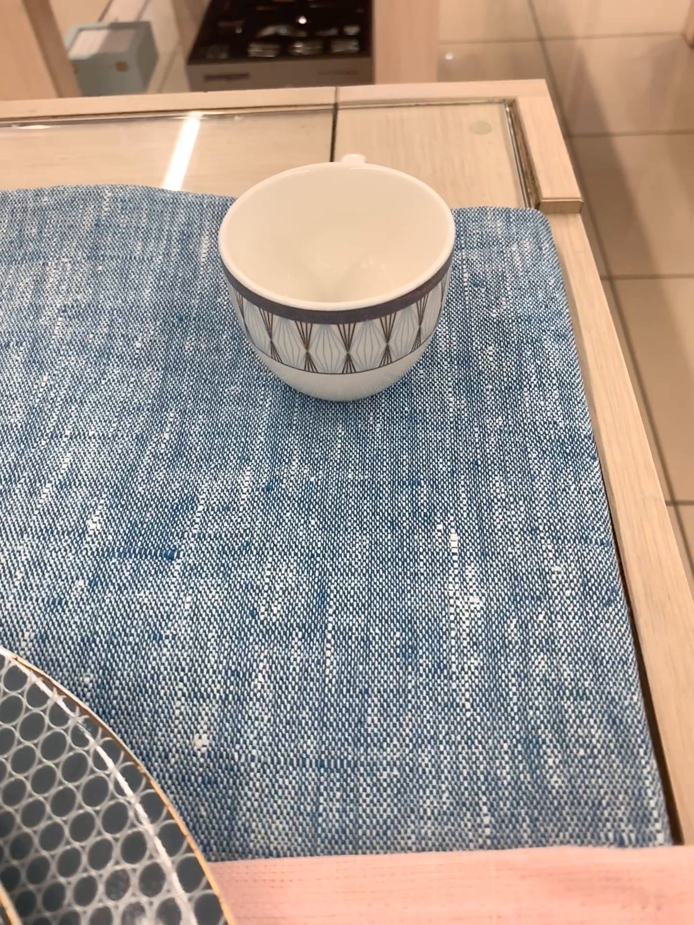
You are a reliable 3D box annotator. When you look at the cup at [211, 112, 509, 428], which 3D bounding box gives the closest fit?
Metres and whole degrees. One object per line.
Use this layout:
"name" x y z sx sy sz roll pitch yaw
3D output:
"cup" 0.004 -0.059 0.213 0.070 0.040 0.090 -2 52 3
